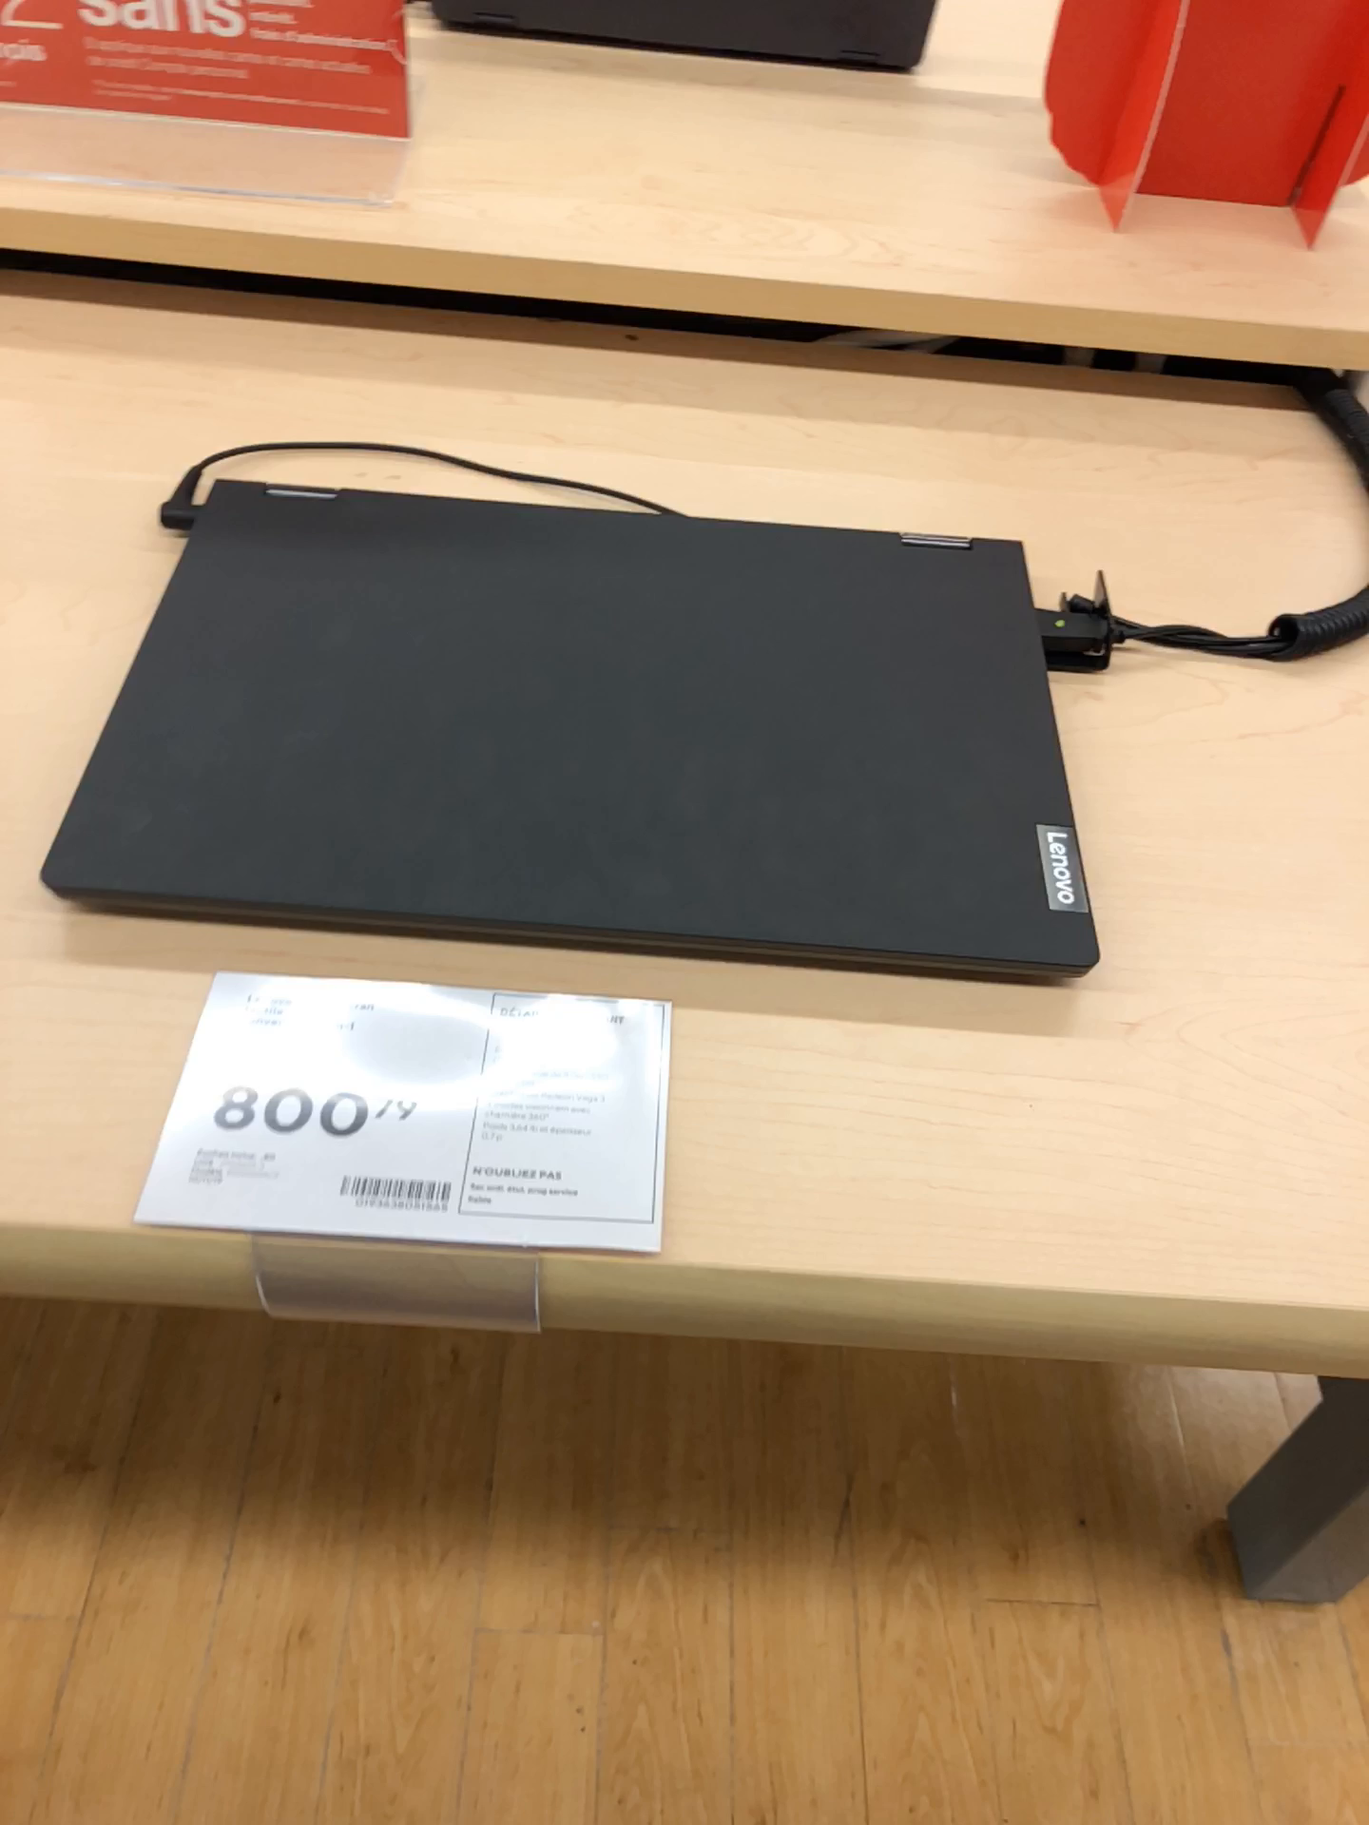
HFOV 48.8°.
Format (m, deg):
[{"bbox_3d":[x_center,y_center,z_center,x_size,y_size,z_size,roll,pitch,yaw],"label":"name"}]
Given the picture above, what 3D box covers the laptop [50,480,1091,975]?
[{"bbox_3d":[-0.028,-0.076,0.544,0.326,0.009,0.212,4,50,-3],"label":"laptop"}]
